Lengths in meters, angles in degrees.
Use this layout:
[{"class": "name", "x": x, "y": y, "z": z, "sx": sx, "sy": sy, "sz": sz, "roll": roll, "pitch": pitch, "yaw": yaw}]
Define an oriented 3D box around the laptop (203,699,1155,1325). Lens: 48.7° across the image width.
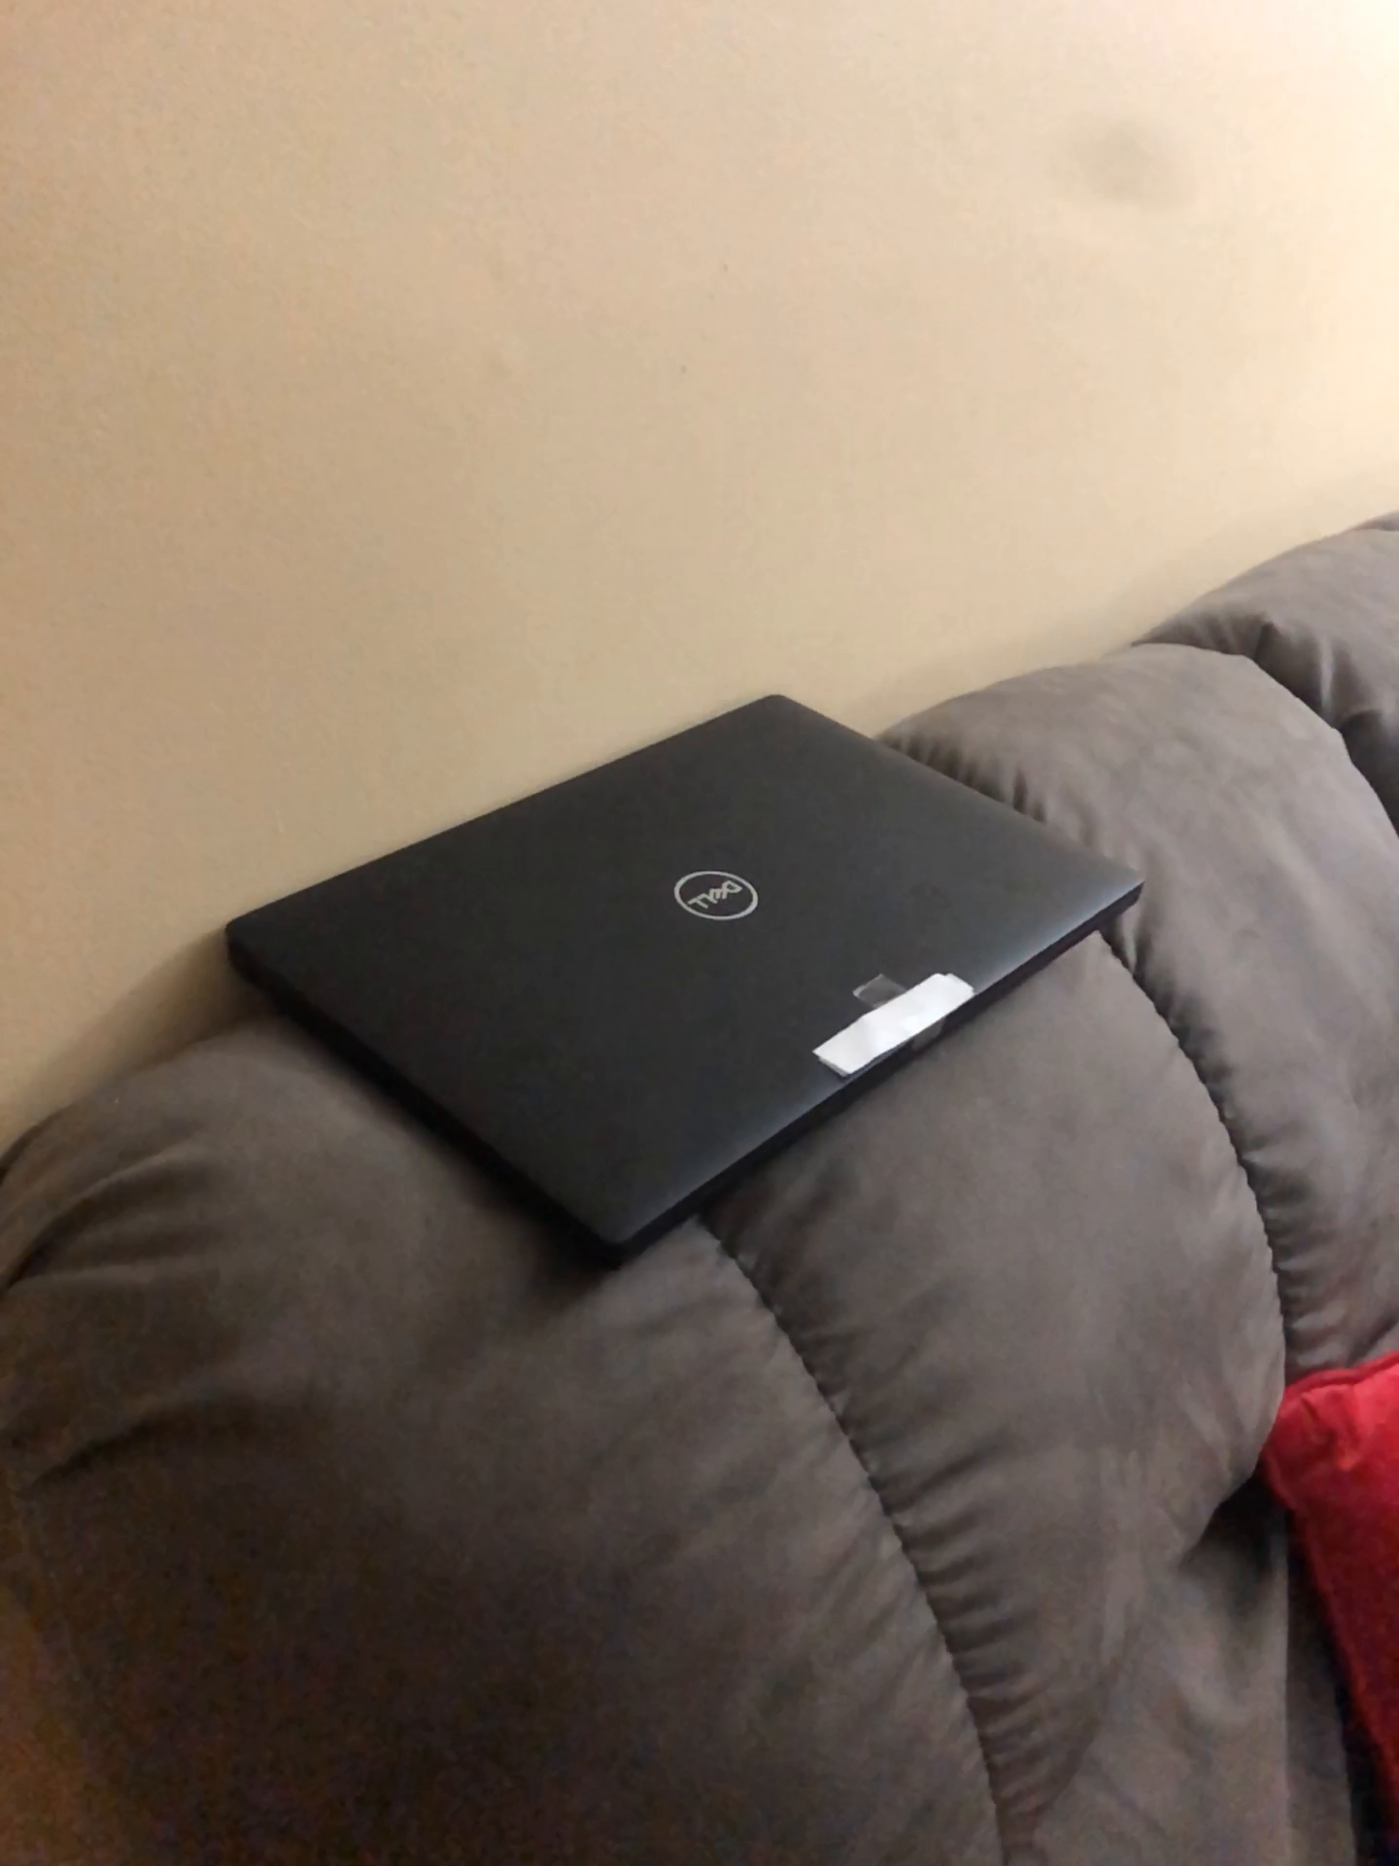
[{"class": "laptop", "x": 0.006, "y": 0.002, "z": 0.634, "sx": 0.214, "sy": 0.030, "sz": 0.326, "roll": 32, "pitch": 43, "yaw": 31}]
